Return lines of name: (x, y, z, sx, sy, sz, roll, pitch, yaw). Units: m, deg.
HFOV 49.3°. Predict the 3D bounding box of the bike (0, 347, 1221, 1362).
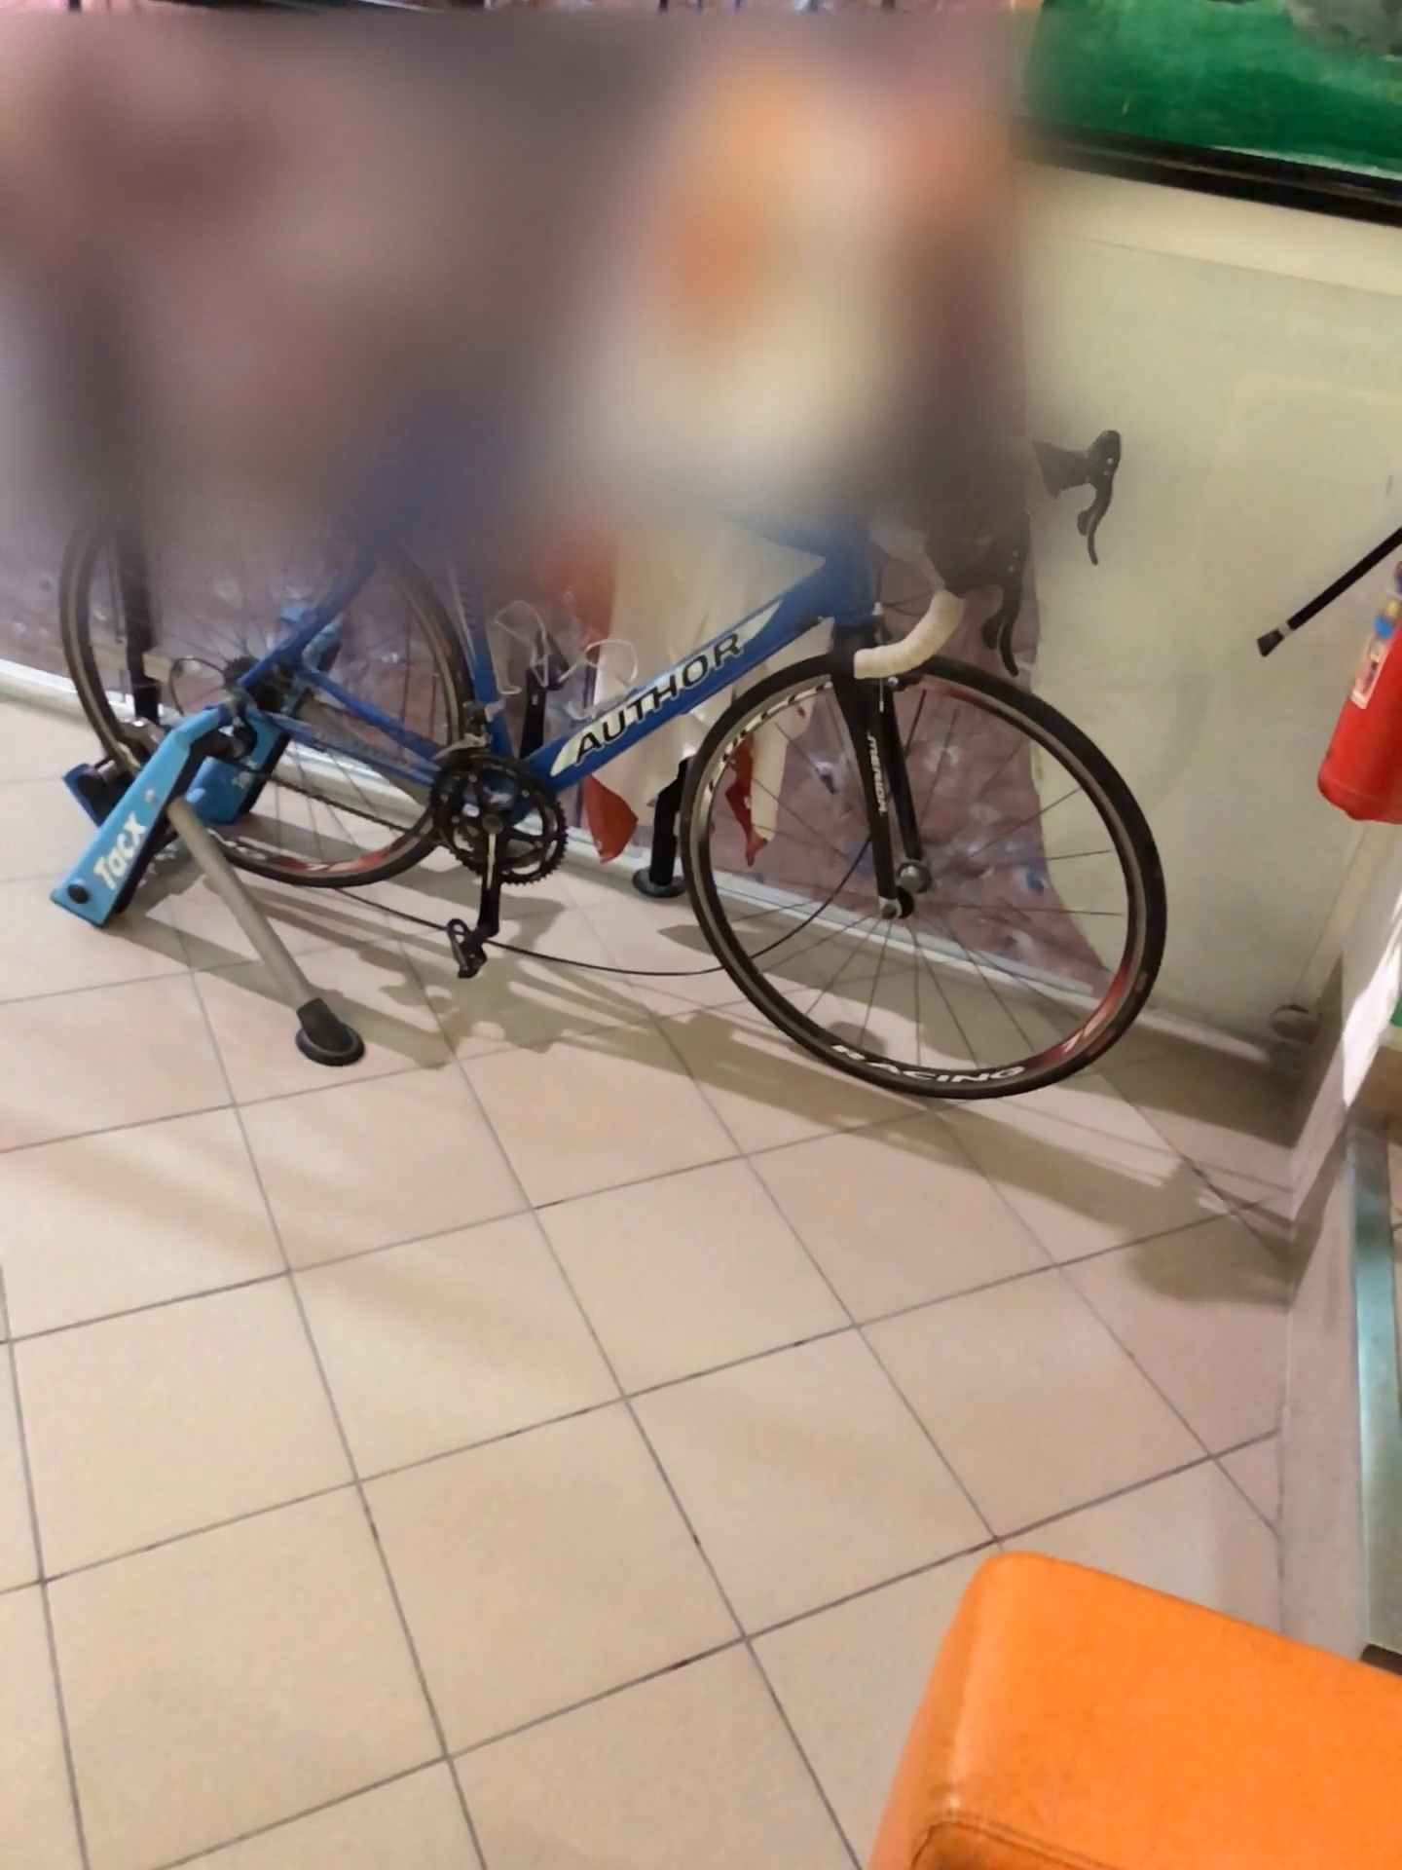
bike: (-0.187, -0.154, 2.025, 1.553, 0.682, 0.468, 21, 35, 11)
